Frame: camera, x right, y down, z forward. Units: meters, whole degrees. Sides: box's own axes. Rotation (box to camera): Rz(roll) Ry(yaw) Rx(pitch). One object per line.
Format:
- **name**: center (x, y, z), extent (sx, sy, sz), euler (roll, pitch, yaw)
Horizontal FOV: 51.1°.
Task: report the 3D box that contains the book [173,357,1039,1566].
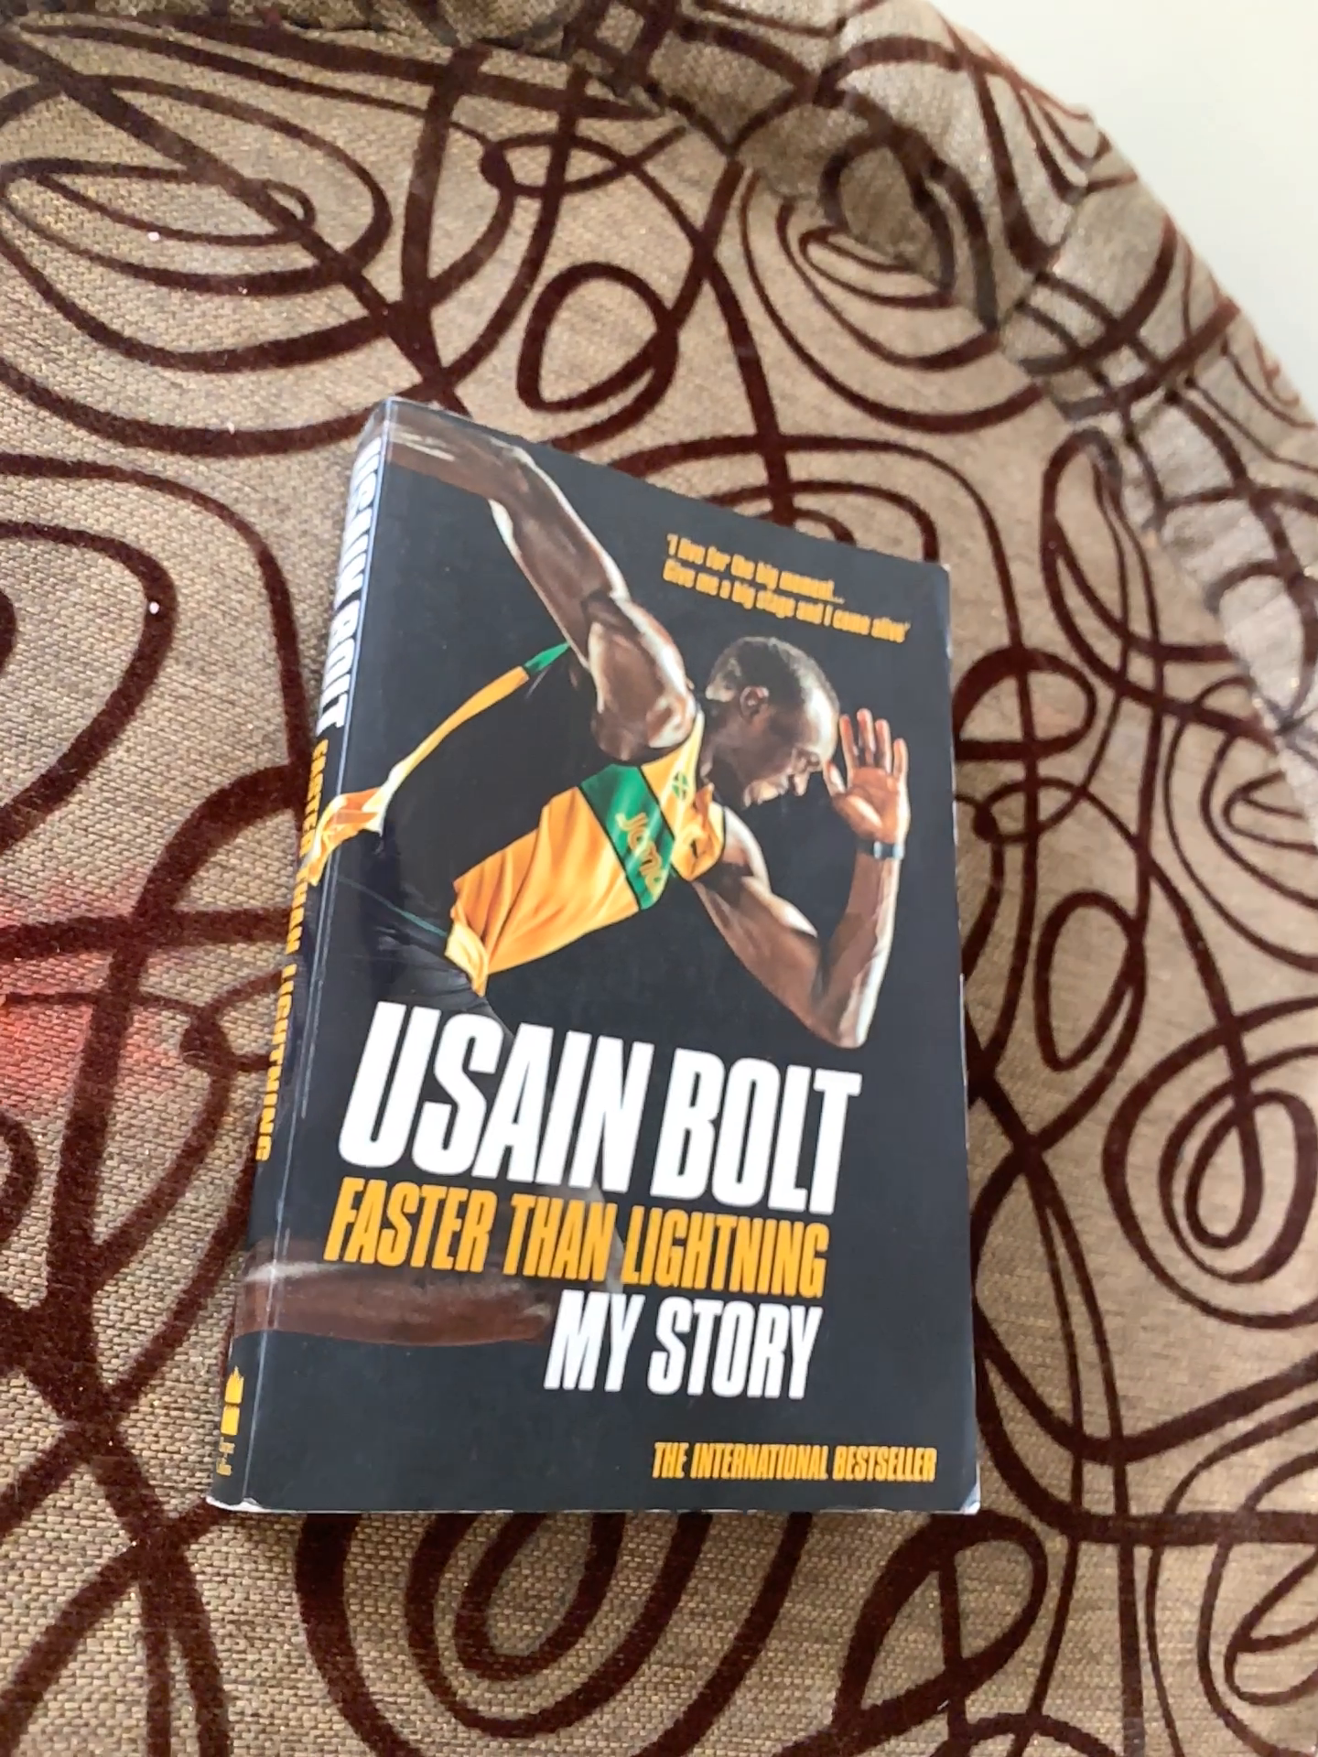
- **book**: center (0.001, 0.015, 0.259), extent (0.140, 0.030, 0.201), euler (12, 67, -24)
